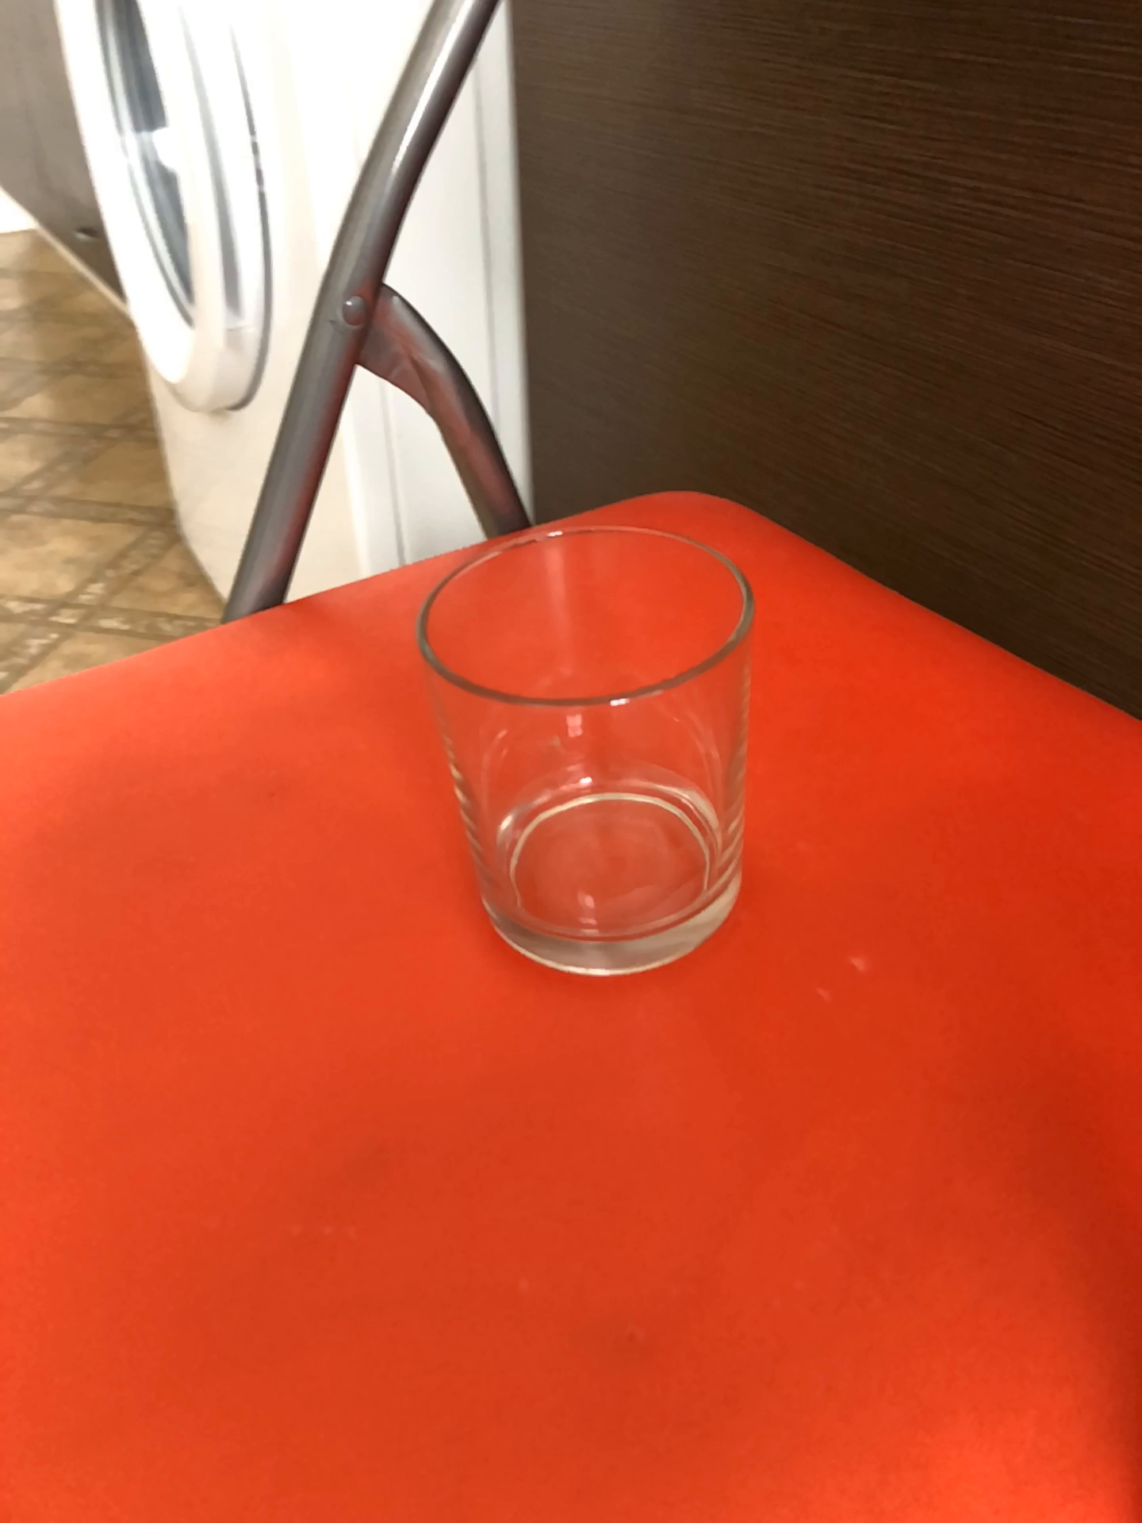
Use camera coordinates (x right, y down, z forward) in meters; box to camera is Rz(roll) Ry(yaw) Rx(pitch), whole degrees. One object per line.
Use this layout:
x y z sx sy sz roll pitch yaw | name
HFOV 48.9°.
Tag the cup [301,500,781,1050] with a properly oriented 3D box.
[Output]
0.000 0.000 0.283 0.077 0.082 0.081 -3 37 2 | cup
